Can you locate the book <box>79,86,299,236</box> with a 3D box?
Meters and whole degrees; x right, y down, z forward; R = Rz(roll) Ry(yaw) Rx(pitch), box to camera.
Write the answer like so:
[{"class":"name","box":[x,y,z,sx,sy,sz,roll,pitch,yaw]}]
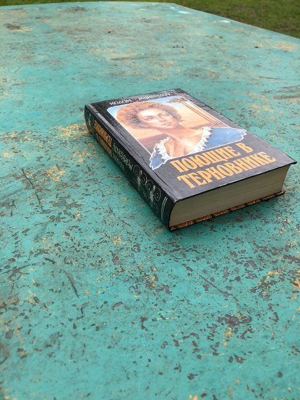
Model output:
[{"class":"book","box":[0.028,-0.061,0.352,0.138,0.032,0.209,-17,42,-23]}]
